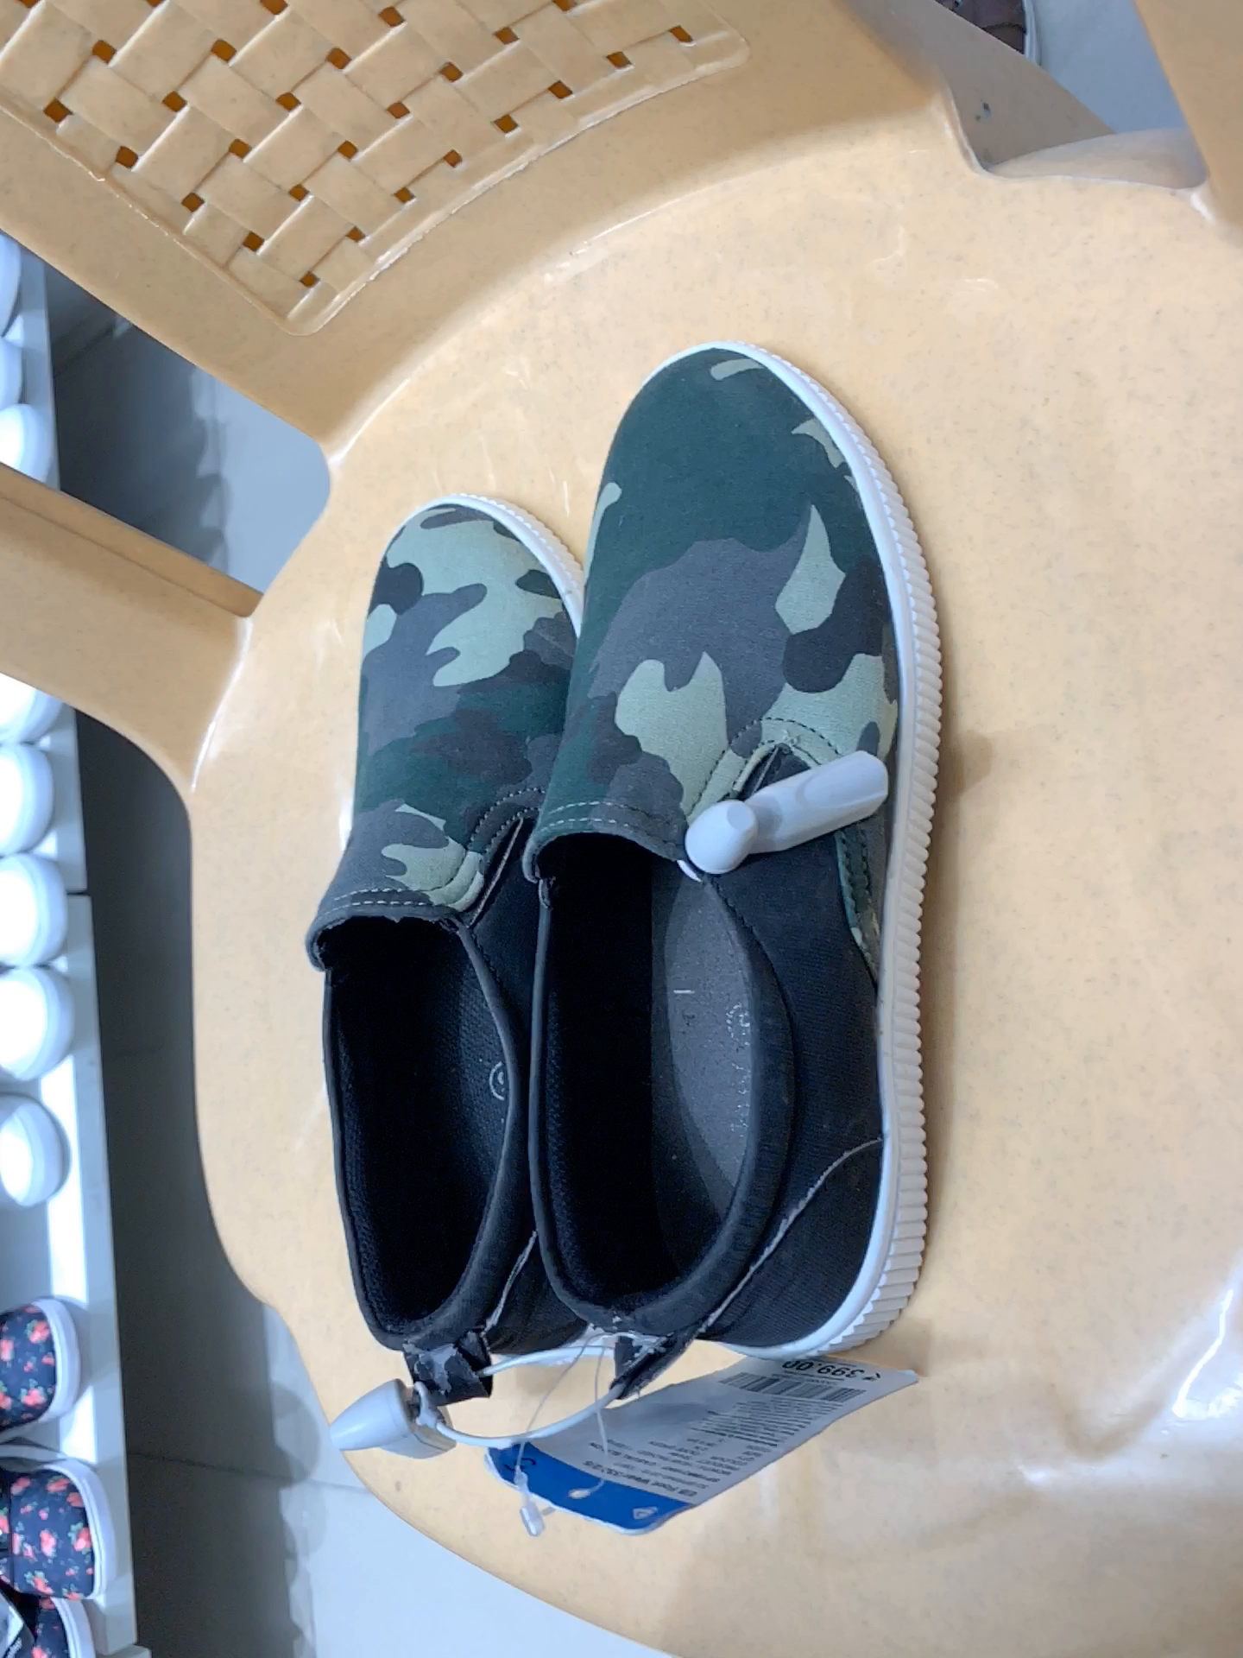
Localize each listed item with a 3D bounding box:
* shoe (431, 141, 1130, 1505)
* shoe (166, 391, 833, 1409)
[{"bbox_3d":[0.031,0.000,0.285,0.090,0.100,0.240,-14,75,38],"label":"shoe"},{"bbox_3d":[-0.036,0.019,0.337,0.090,0.100,0.220,-23,73,36],"label":"shoe"}]
